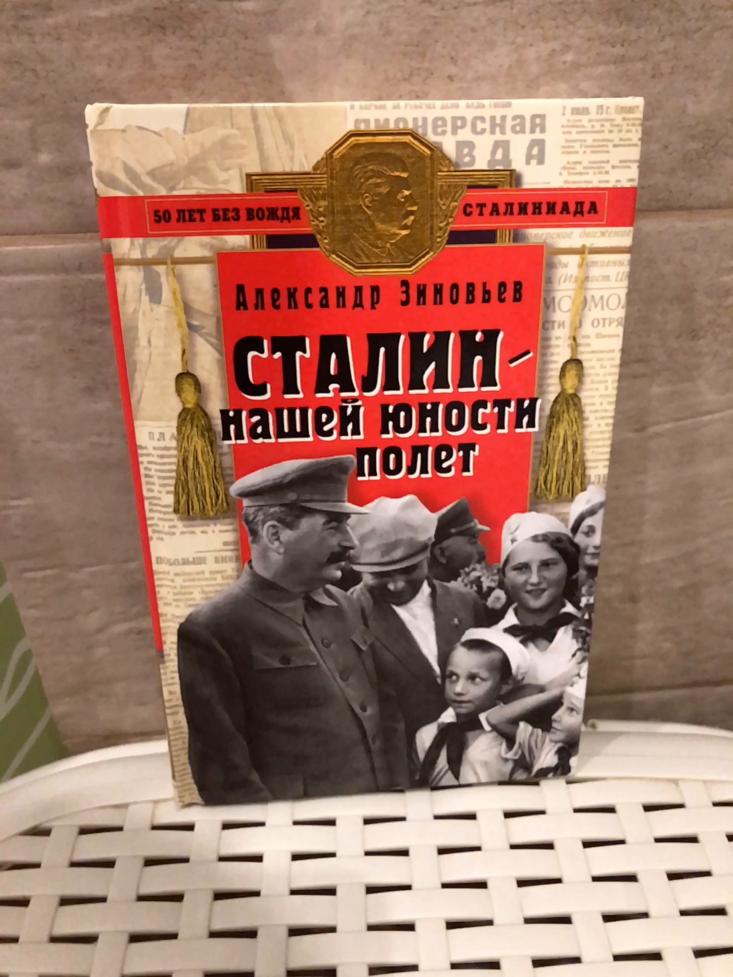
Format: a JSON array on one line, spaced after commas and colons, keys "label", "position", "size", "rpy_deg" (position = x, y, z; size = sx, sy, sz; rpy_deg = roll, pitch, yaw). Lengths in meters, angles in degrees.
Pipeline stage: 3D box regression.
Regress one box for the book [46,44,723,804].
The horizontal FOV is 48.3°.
[{"label": "book", "position": [0.006, -0.005, 0.222], "size": [0.140, 0.199, 0.030], "rpy_deg": [-2, 23, -2]}]
